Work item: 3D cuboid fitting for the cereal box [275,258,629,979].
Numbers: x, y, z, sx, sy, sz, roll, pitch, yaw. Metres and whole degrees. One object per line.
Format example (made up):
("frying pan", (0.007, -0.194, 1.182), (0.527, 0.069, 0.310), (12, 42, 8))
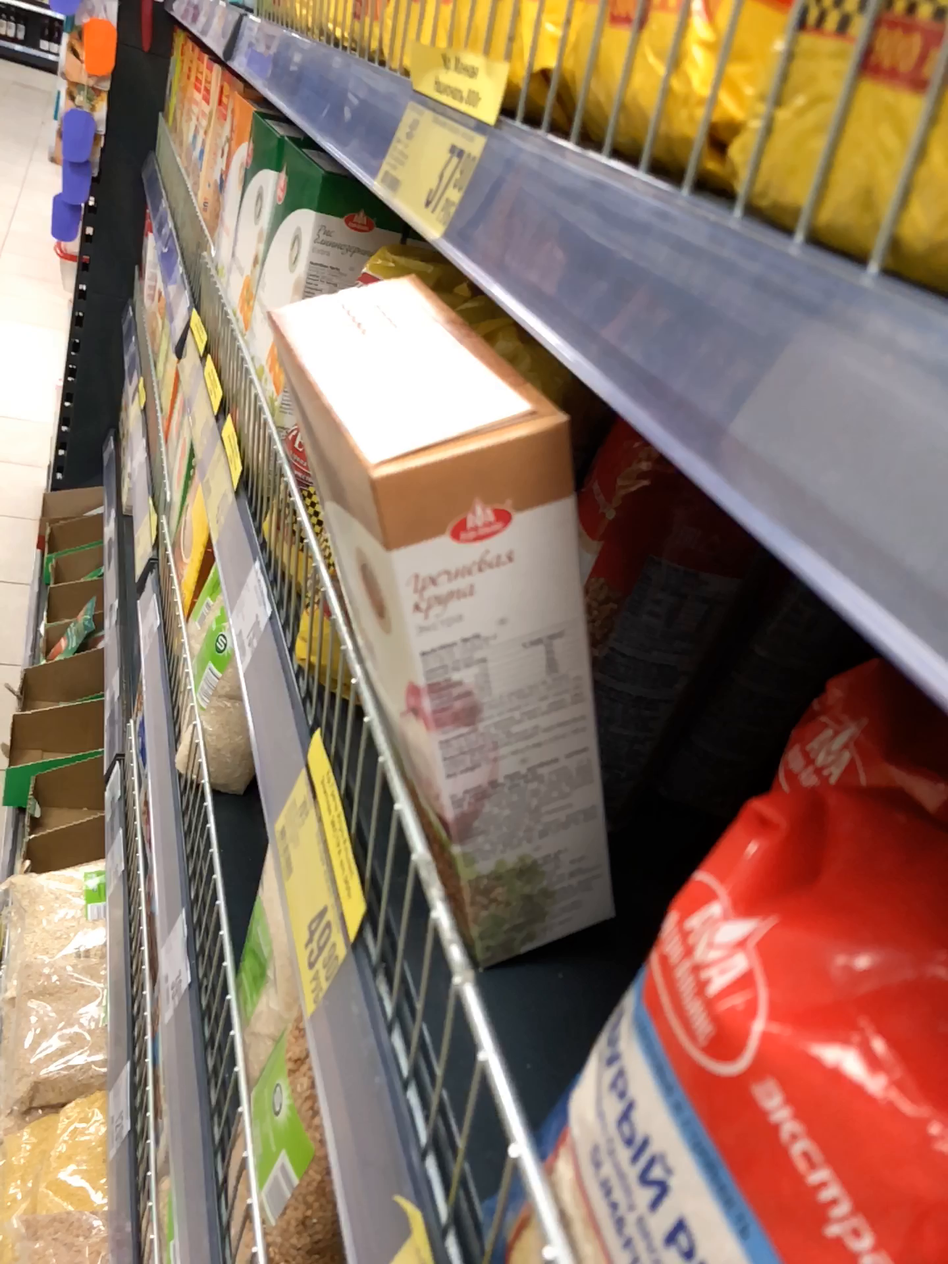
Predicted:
("cereal box", (-0.006, -0.005, 0.355), (0.050, 0.199, 0.141), (-18, 37, -11))
